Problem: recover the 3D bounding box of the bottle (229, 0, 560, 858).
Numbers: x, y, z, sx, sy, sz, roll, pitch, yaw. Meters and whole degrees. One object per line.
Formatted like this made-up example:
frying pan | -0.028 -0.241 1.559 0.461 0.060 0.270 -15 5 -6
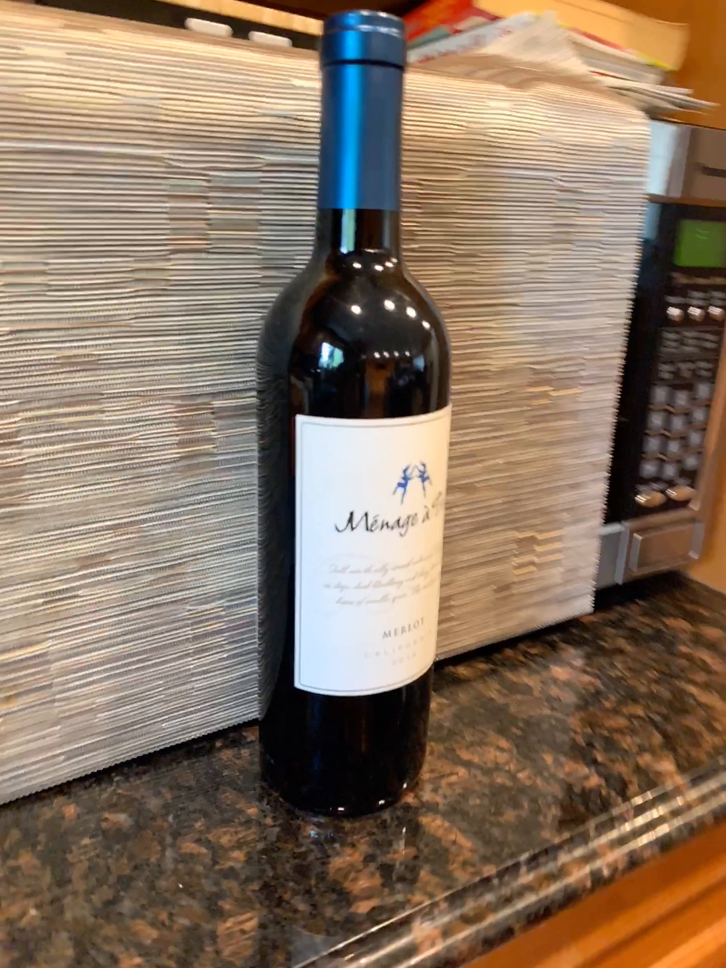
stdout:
bottle | 0.002 -0.019 0.297 0.080 0.309 0.080 2 17 -1
